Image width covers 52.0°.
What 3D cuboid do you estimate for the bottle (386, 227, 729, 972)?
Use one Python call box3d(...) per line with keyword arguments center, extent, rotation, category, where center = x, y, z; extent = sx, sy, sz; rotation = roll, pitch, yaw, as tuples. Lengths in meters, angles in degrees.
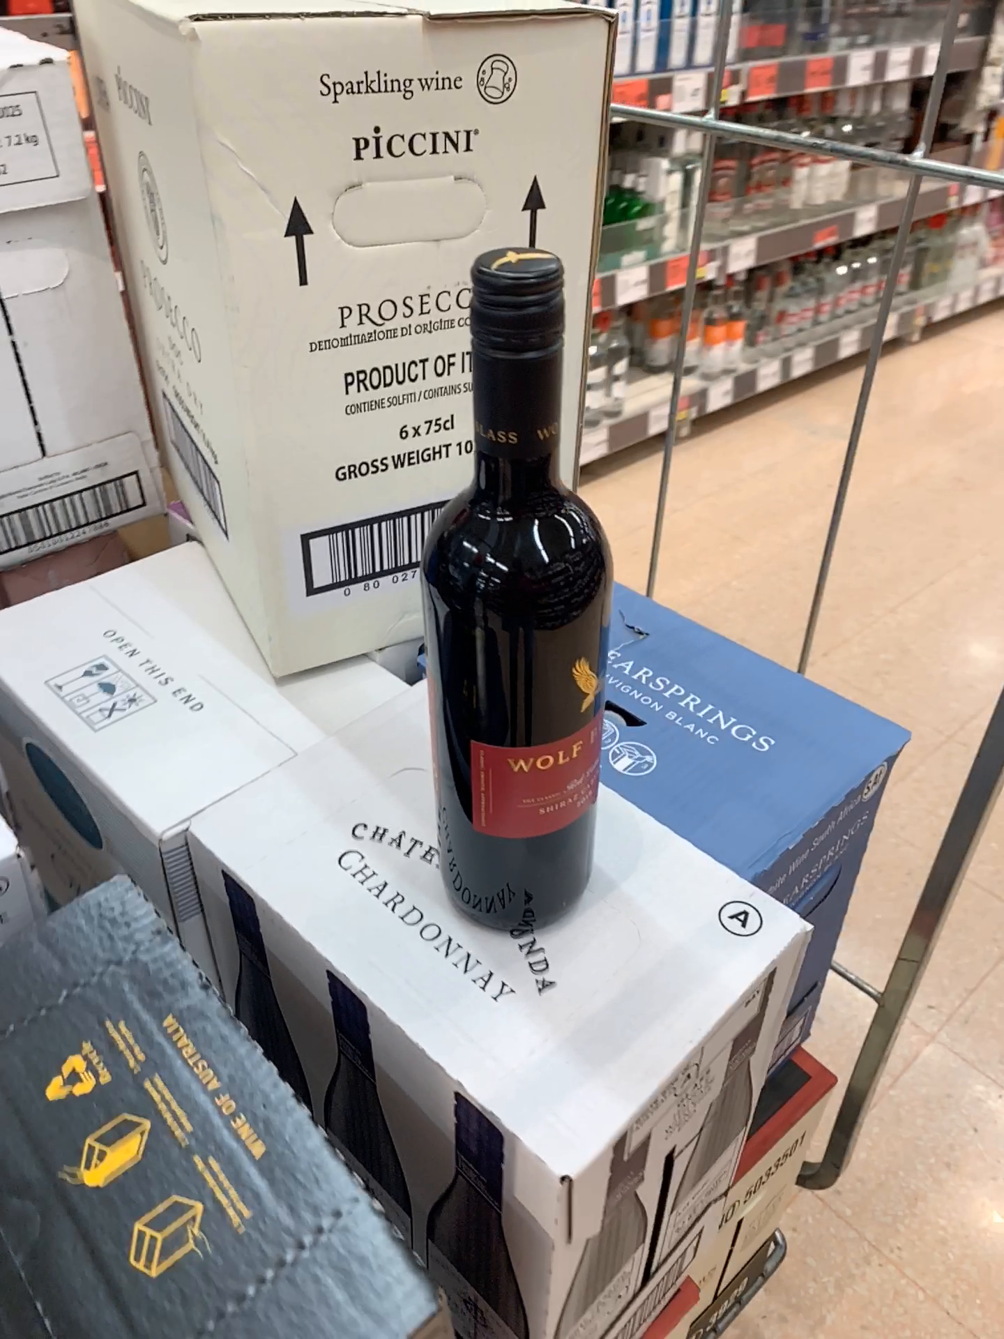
box3d(center=(0.016, -0.014, 0.399), extent=(0.075, 0.270, 0.081), rotation=(1, 36, -1), category="bottle")
